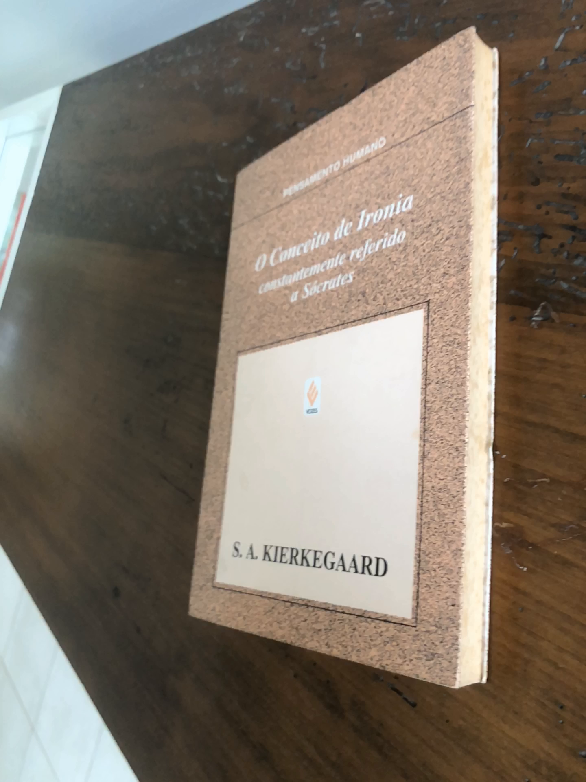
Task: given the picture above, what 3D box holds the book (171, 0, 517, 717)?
[{"bbox_3d":[0.014,-0.012,0.256,0.145,0.024,0.220,-9,71,49],"label":"book"}]
